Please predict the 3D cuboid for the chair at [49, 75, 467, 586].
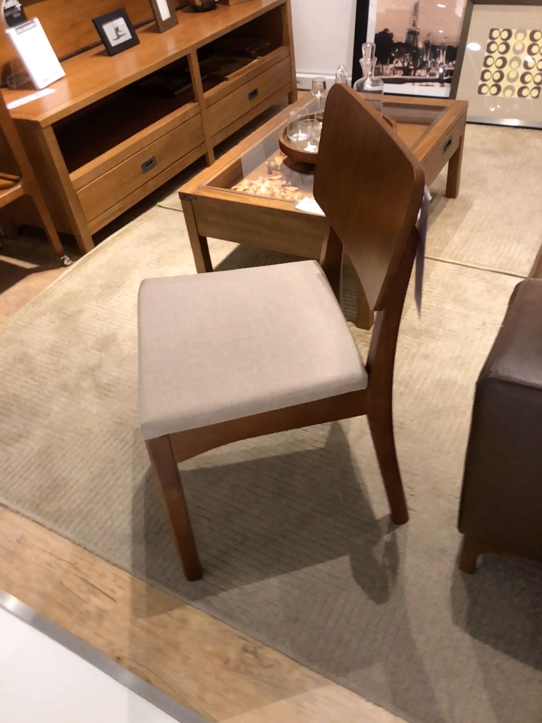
[{"bbox_3d":[-0.009,-0.040,1.194,0.530,0.794,0.514,-10,41,-3],"label":"chair"}]
